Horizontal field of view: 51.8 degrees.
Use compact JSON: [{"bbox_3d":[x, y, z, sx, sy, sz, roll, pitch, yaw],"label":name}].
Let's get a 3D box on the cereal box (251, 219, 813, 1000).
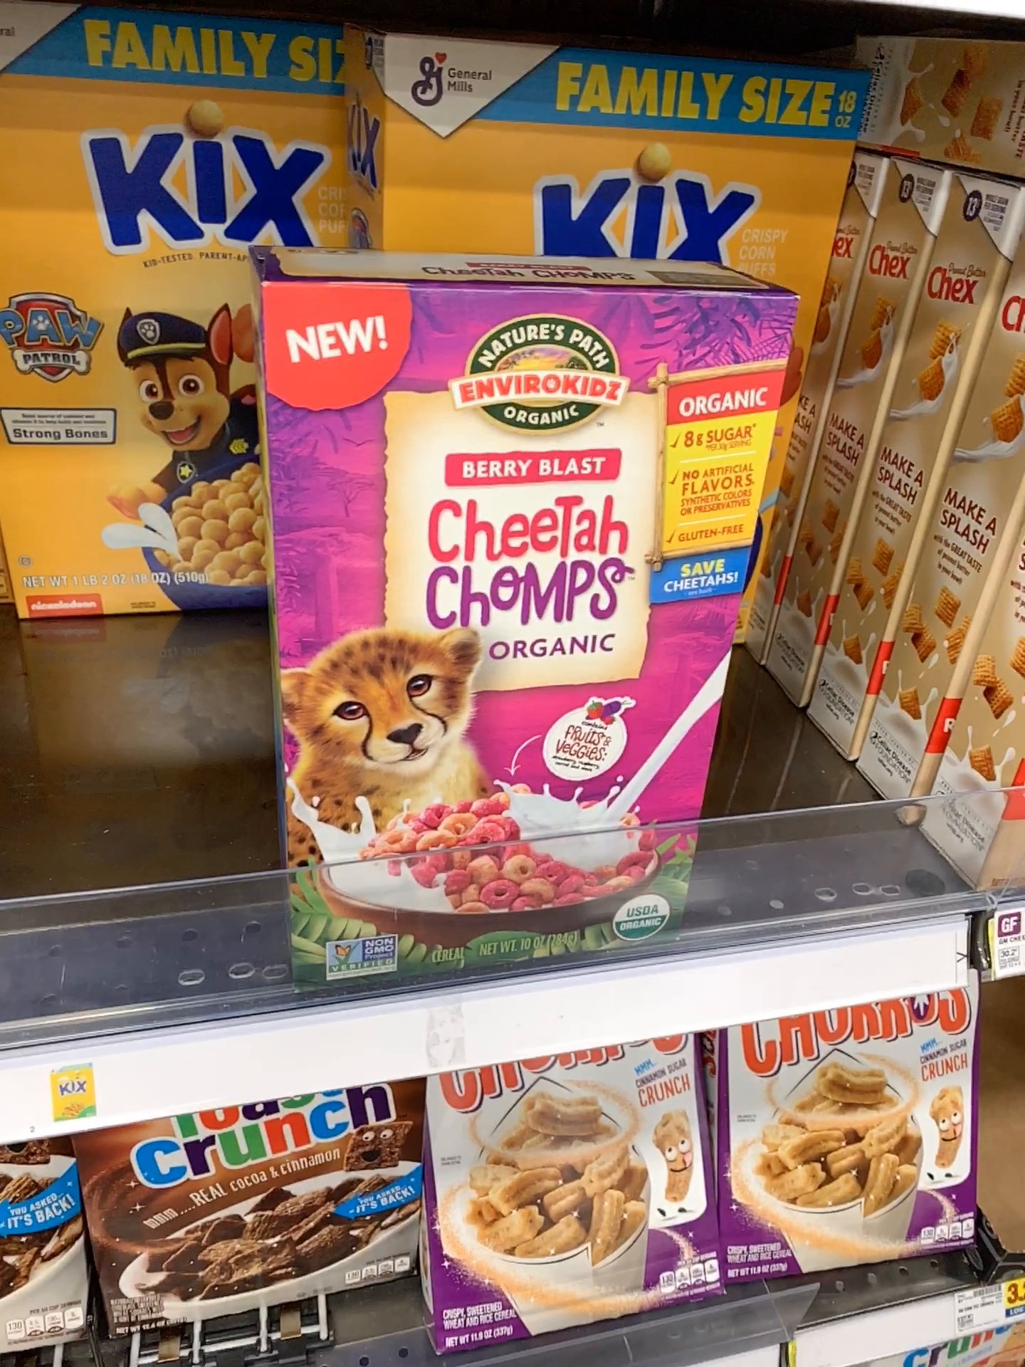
[{"bbox_3d":[-0.005,-0.016,0.384,0.160,0.269,0.060,-4,30,-14],"label":"cereal box"}]
